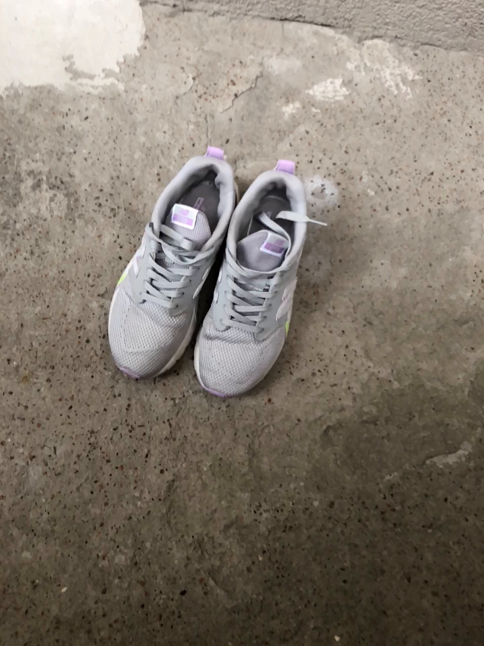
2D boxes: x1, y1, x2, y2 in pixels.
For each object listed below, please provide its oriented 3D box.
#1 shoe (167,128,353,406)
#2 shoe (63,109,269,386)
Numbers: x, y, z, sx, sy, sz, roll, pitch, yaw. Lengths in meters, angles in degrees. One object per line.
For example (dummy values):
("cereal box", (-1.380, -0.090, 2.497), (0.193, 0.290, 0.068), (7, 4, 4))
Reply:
("shoe", (0.020, -0.055, 0.592), (0.110, 0.100, 0.270), (19, 81, 1))
("shoe", (-0.075, -0.078, 0.597), (0.110, 0.100, 0.270), (23, 81, 2))
